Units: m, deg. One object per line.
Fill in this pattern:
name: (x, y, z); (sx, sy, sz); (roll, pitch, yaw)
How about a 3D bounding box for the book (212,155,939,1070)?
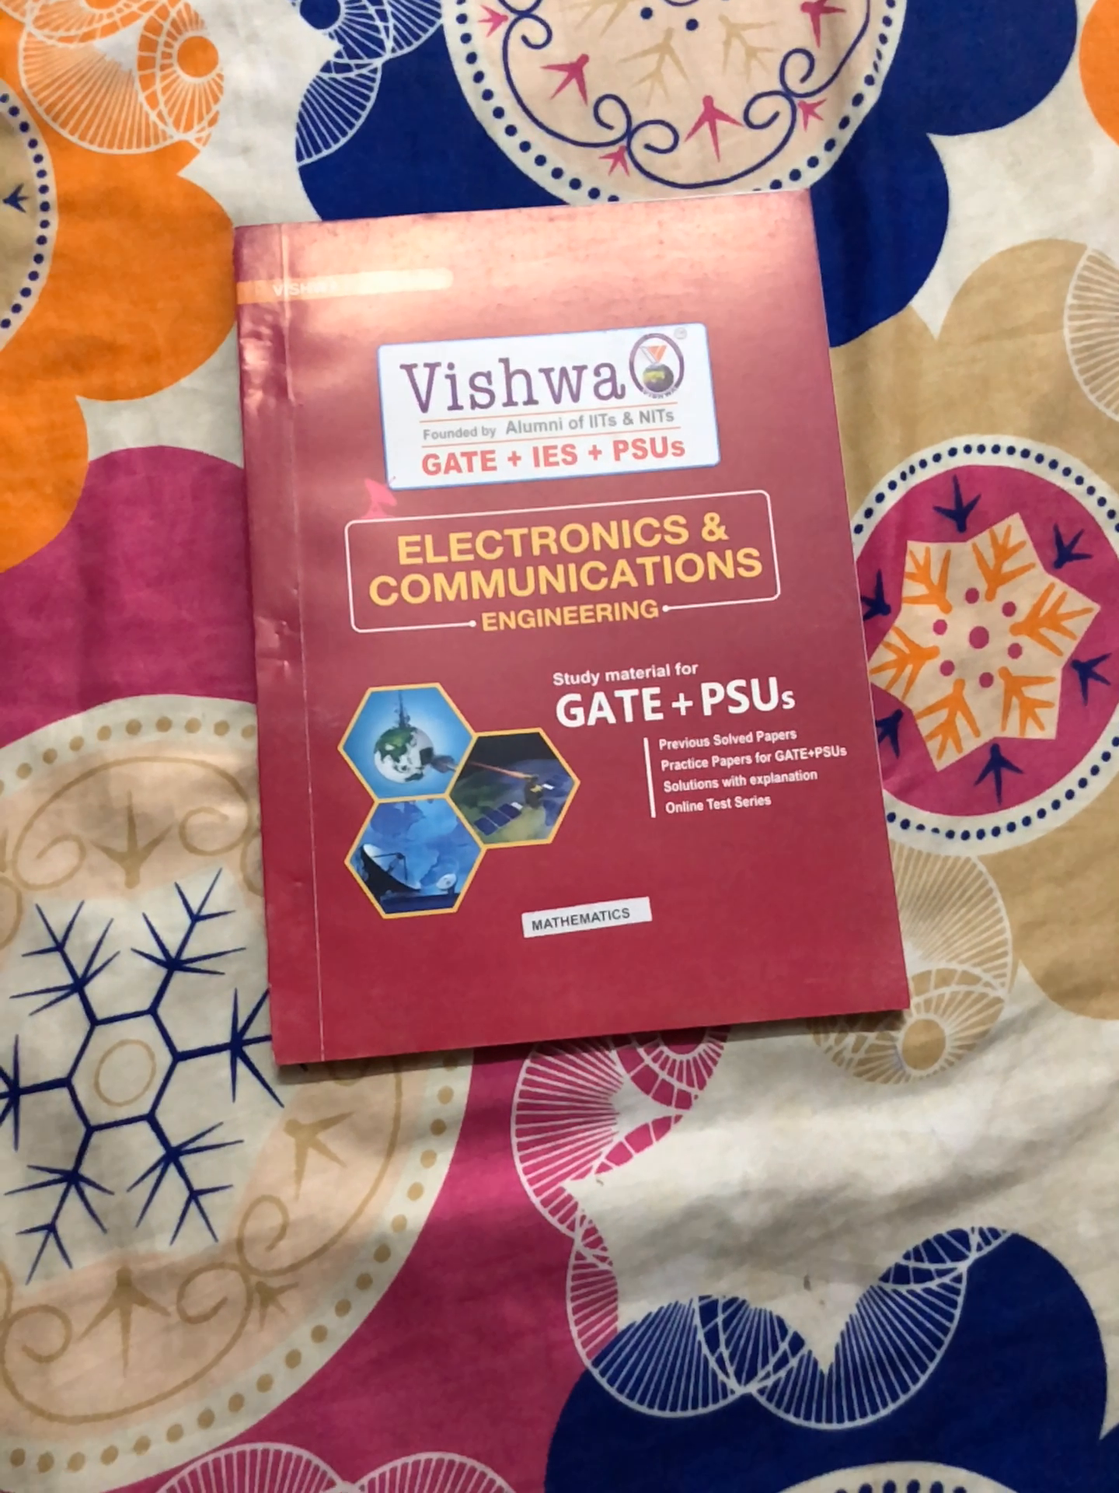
book: (-0.001, -0.054, 0.425); (0.217, 0.030, 0.300); (-4, 80, -4)
